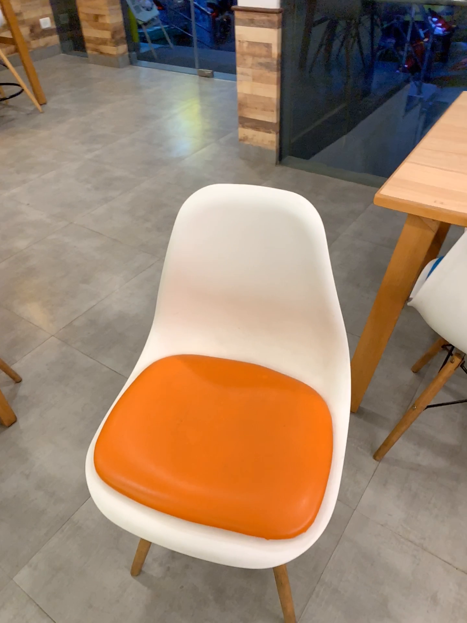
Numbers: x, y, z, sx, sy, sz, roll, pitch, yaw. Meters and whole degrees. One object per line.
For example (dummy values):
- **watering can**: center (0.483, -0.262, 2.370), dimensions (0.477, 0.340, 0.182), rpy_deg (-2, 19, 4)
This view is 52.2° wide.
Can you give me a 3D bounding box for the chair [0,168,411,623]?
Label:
- **chair**: center (-0.004, 0.190, 0.902), dimensions (0.471, 0.704, 0.484), rpy_deg (13, 42, 18)
